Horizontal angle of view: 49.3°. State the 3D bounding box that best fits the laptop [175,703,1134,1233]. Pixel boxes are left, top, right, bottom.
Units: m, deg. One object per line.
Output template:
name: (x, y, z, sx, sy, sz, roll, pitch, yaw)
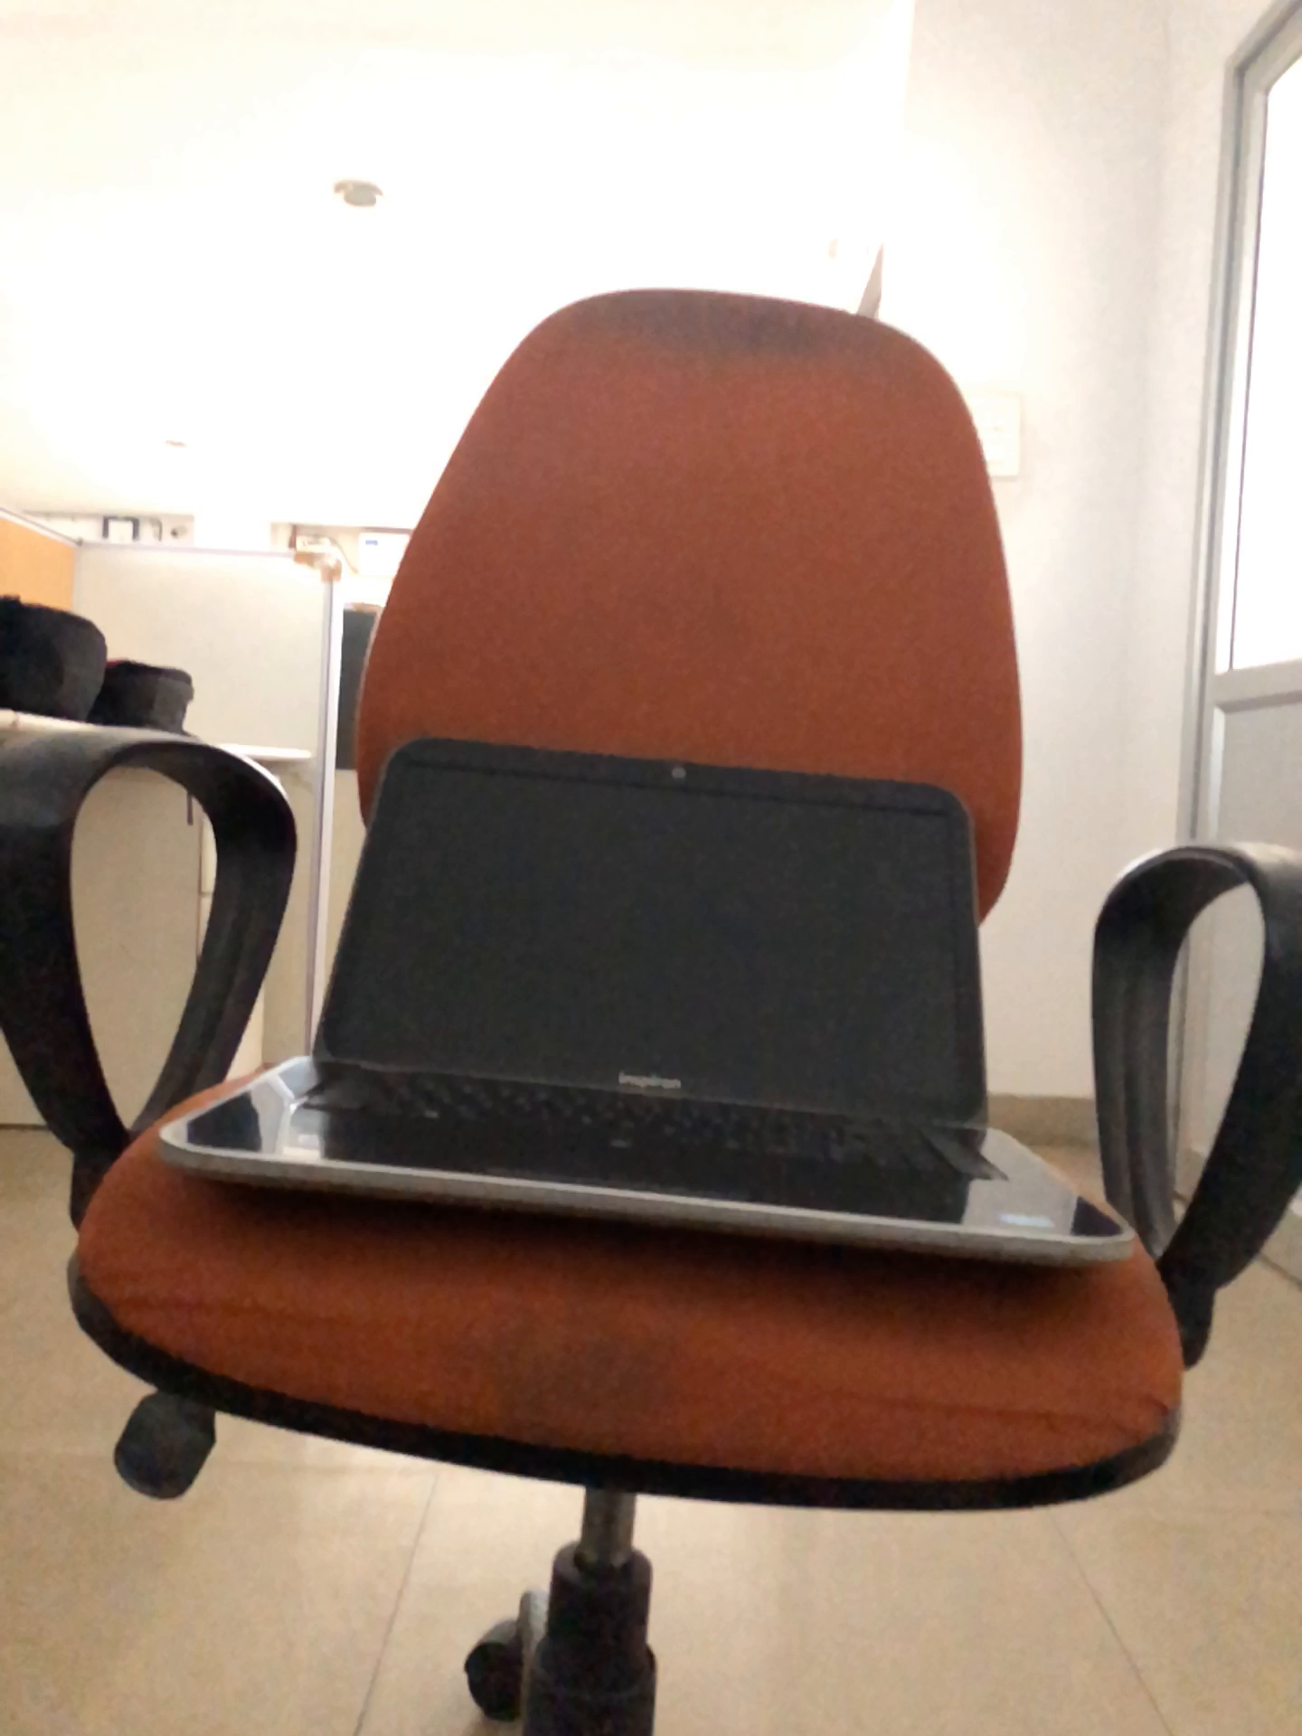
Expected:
laptop: (0.000, 0.026, 0.706, 0.352, 0.174, 0.351, 4, 3, 3)
